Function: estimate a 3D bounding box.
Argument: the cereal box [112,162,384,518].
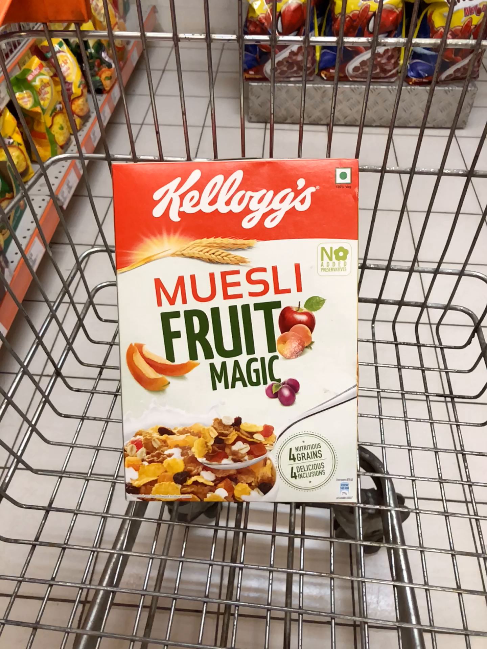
[{"bbox_3d":[0.002,0.012,0.448,0.200,0.270,0.080,1,5,1],"label":"cereal box"}]
